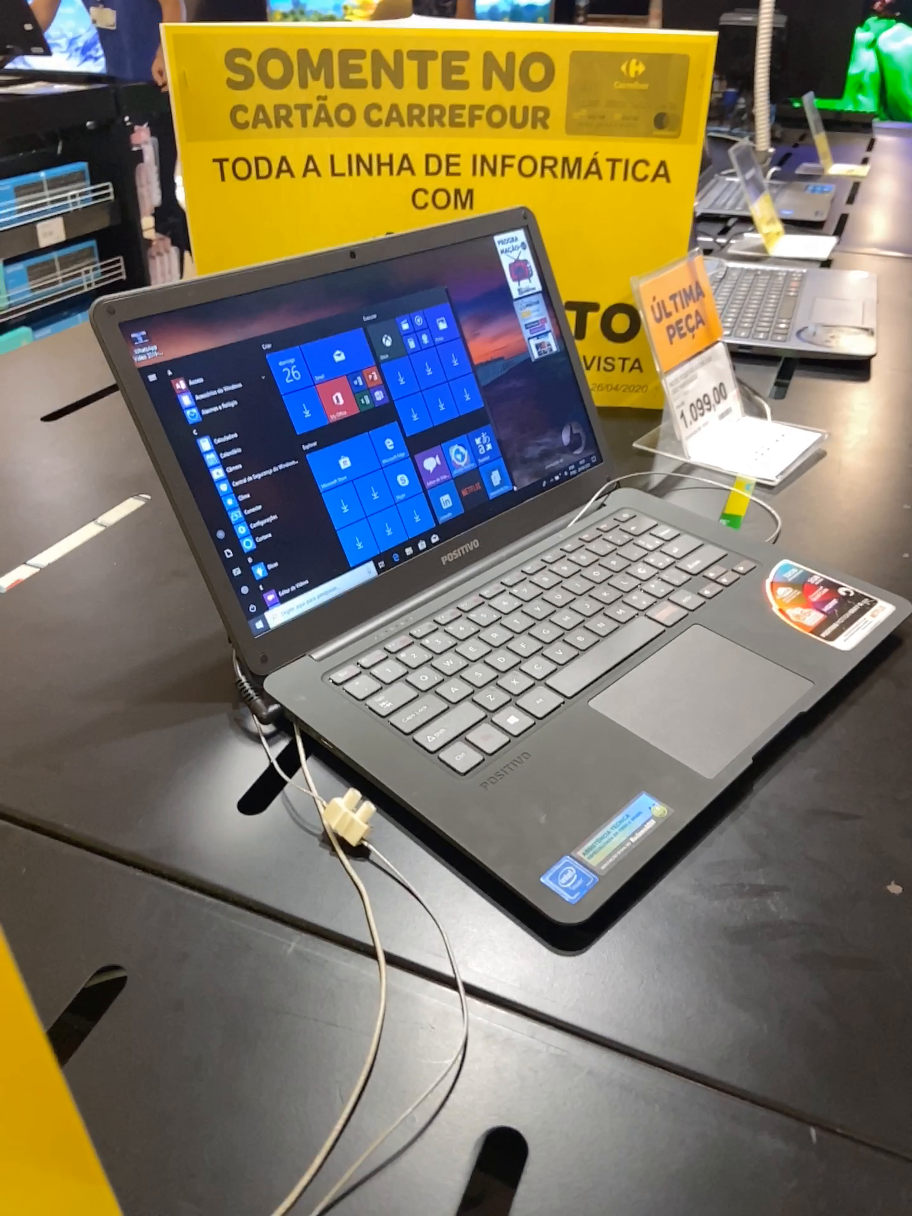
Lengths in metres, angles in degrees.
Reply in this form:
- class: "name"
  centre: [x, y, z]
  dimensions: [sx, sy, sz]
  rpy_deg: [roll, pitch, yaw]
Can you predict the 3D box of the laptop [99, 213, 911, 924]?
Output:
- class: "laptop"
  centre: [0.044, -0.069, 0.472]
  dimensions: [0.297, 0.159, 0.292]
  rpy_deg: [-29, 44, -36]
